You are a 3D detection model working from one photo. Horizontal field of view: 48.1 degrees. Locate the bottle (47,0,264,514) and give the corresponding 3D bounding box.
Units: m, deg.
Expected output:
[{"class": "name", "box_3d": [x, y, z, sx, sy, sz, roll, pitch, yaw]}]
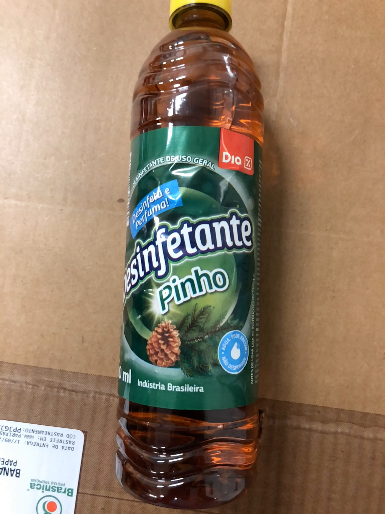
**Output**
[{"class": "bottle", "box_3d": [-0.005, -0.012, 0.182, 0.060, 0.070, 0.220, -1, 81, 16]}]
